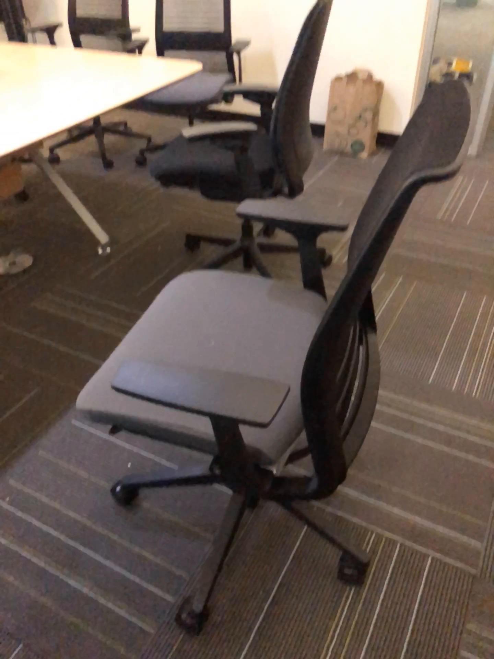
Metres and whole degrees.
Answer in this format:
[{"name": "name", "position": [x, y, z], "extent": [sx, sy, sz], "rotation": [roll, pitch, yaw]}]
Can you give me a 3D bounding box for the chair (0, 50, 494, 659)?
[{"name": "chair", "position": [0.007, -0.001, 1.068], "extent": [0.661, 0.856, 0.723], "rotation": [8, 38, 12]}]
